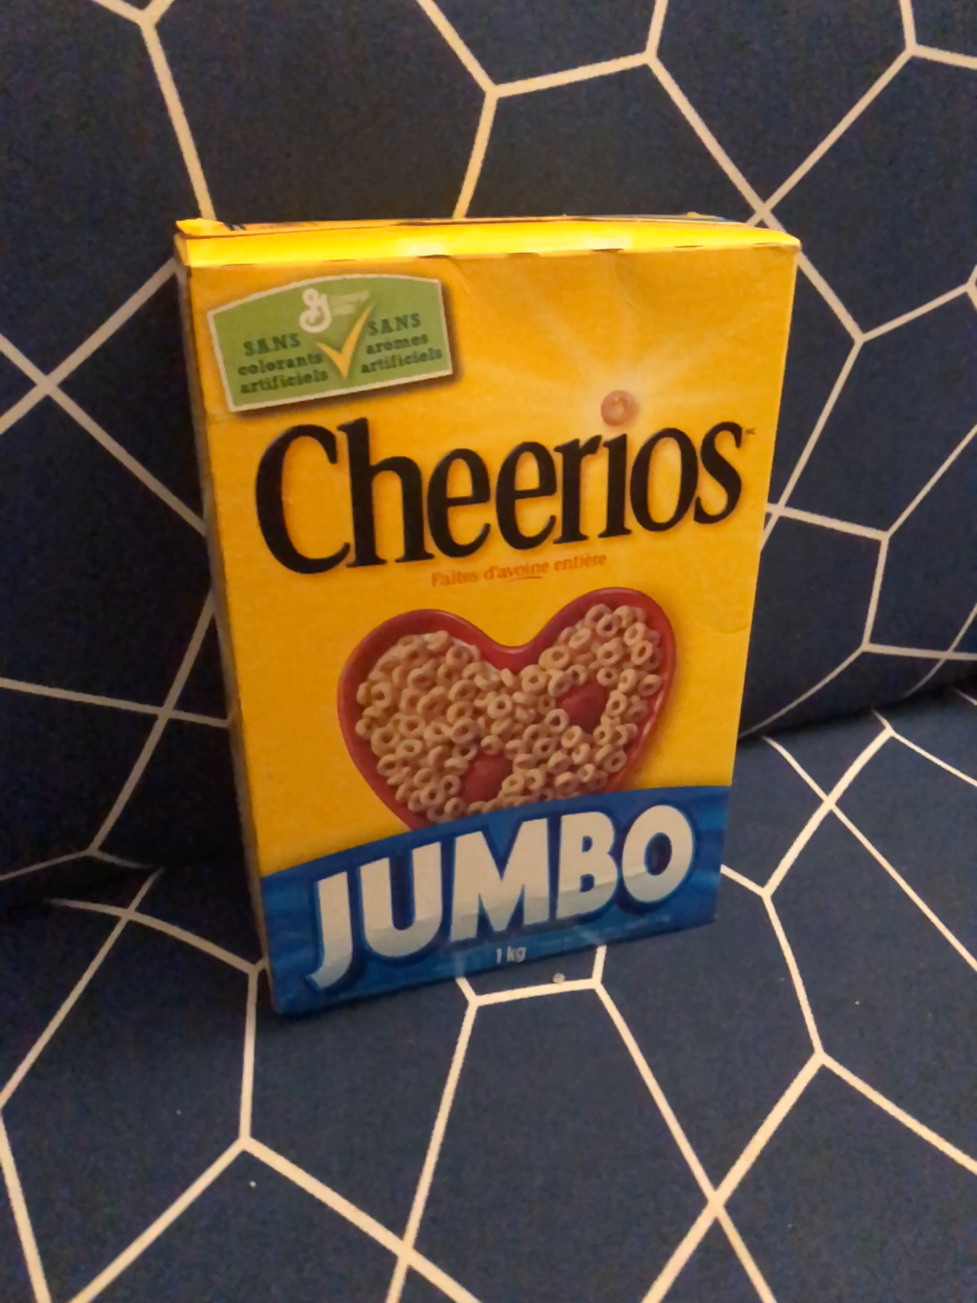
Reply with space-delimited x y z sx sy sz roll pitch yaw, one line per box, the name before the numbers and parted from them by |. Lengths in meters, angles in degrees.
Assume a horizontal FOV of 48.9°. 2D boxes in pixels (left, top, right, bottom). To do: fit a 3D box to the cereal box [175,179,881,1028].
cereal box | 0.010 -0.018 0.407 0.210 0.288 0.080 -8 28 -17
